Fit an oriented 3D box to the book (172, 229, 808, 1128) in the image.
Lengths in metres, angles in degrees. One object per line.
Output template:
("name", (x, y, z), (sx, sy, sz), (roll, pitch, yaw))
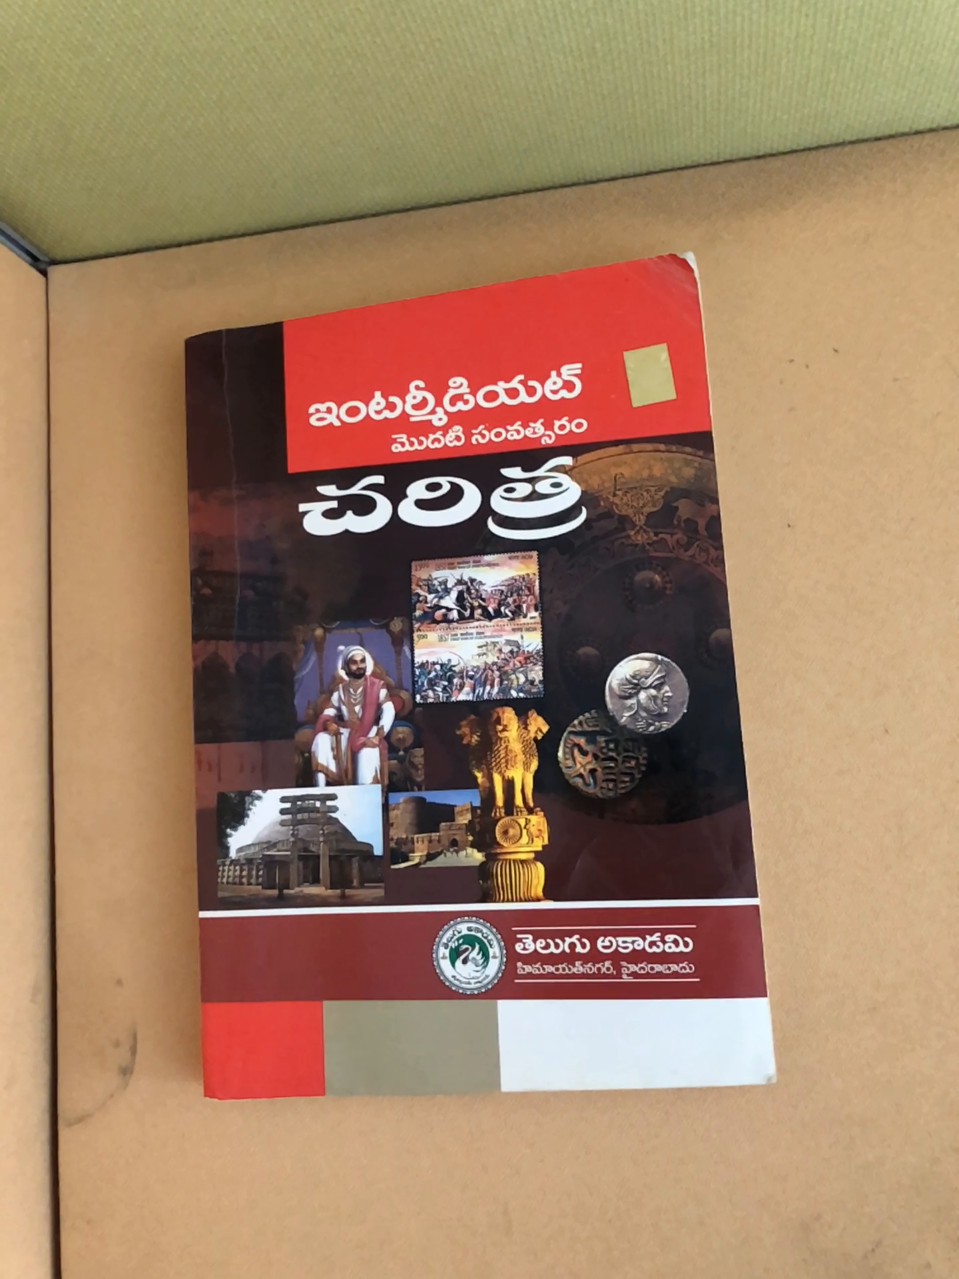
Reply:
("book", (-0.005, 0.014, 0.374), (0.200, 0.030, 0.290), (-5, 82, 11))
